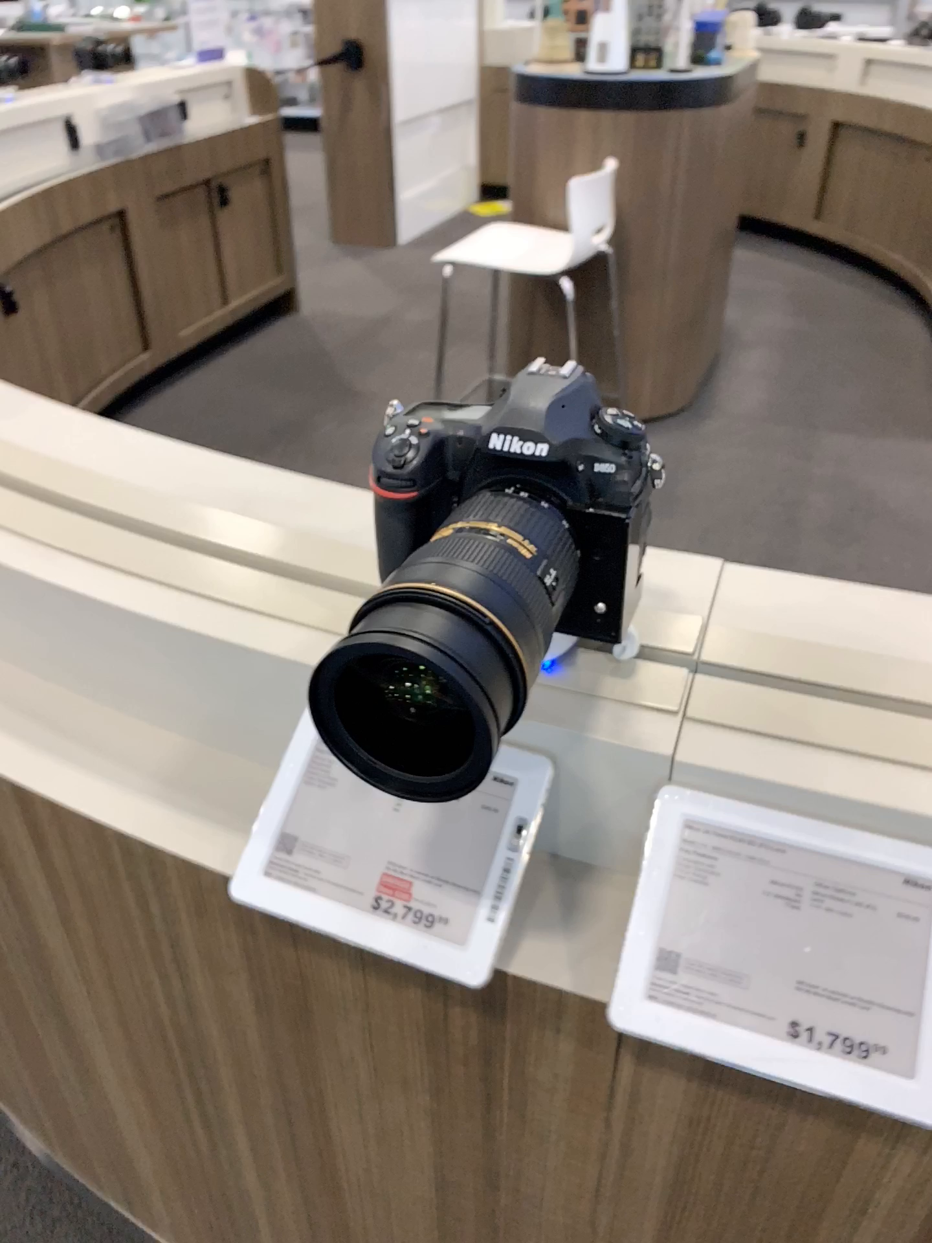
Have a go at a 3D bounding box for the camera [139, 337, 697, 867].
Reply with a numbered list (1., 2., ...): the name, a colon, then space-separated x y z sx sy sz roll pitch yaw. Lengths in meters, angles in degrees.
1. camera: 0.000 -0.033 0.448 0.160 0.109 0.241 12 36 17
